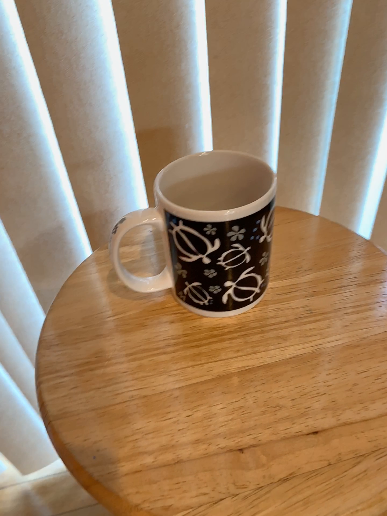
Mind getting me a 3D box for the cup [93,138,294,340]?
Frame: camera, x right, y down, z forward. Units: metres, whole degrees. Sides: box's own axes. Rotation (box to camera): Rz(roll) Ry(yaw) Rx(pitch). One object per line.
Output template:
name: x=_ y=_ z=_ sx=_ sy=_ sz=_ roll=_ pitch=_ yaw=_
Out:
cup: x=-0.003 y=-0.016 z=0.302 sx=0.120 sy=0.099 sz=0.091 roll=-10 pitch=40 yaw=-5
